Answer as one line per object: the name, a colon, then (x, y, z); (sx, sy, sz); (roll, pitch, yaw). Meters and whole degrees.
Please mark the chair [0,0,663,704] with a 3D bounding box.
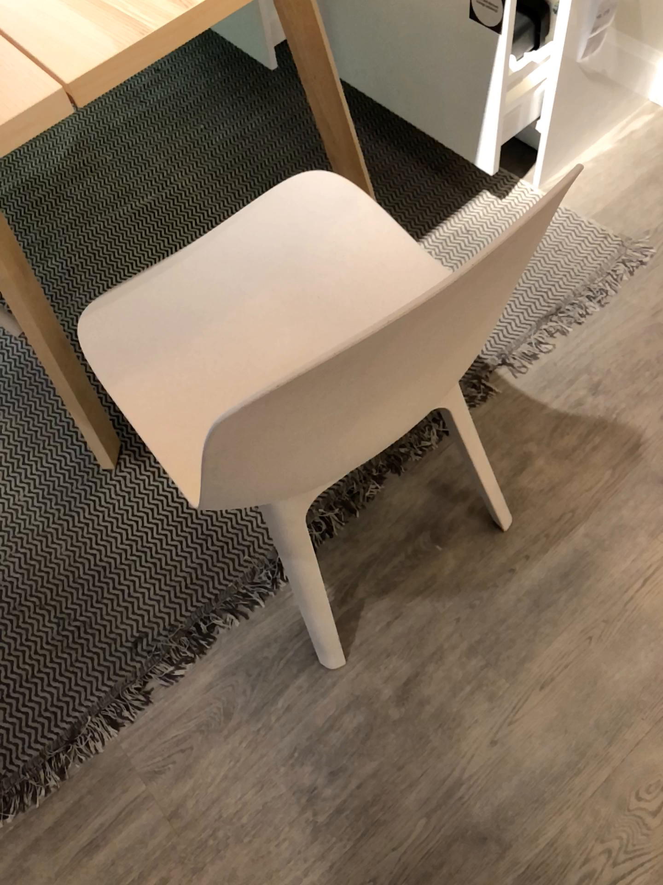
chair: (-0.047, -0.097, 0.899); (0.460, 0.767, 0.512); (-38, 64, -13)
